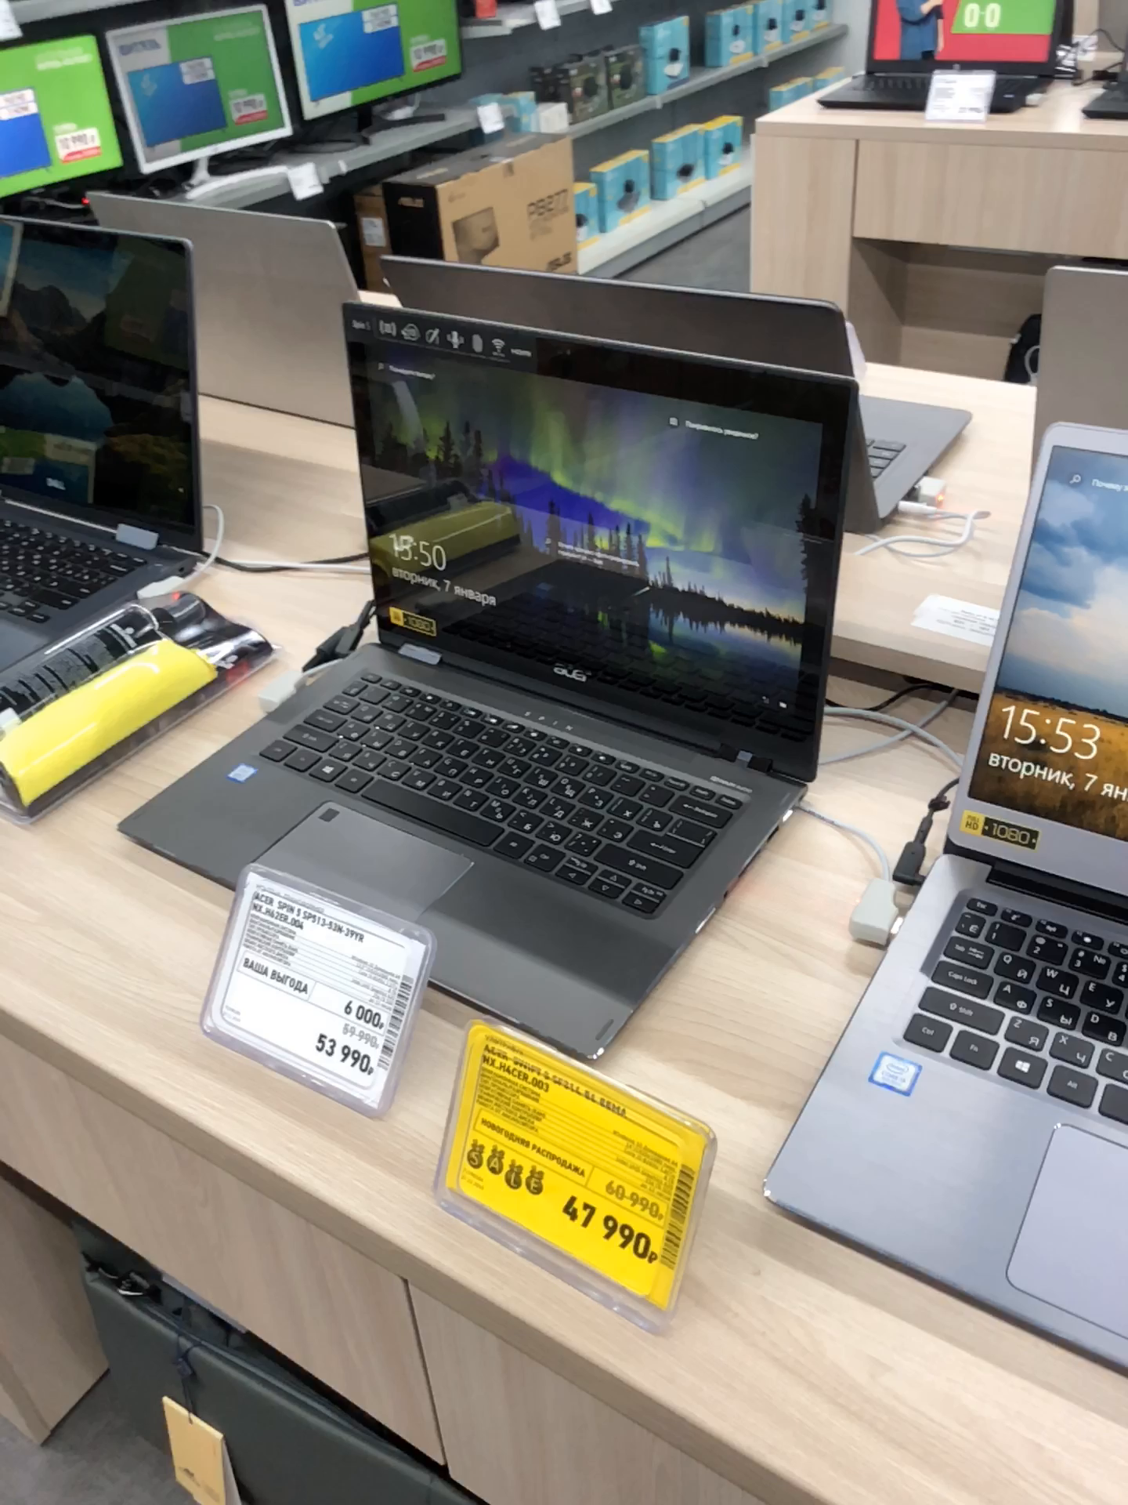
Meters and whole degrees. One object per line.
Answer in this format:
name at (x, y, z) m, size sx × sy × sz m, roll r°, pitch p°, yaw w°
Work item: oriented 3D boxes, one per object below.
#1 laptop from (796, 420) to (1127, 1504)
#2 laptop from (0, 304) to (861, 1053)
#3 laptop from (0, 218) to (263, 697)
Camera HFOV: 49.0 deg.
laptop at (0.268, 0.042, 0.453) m, size 0.271 × 0.196 × 0.299 m, roll 16°, pitch 40°, yaw 29°
laptop at (-0.054, -0.066, 0.635) m, size 0.315 × 0.215 × 0.246 m, roll 19°, pitch 42°, yaw 29°
laptop at (-0.473, -0.242, 0.926) m, size 0.340 × 0.215 × 0.289 m, roll 17°, pitch 42°, yaw 29°
